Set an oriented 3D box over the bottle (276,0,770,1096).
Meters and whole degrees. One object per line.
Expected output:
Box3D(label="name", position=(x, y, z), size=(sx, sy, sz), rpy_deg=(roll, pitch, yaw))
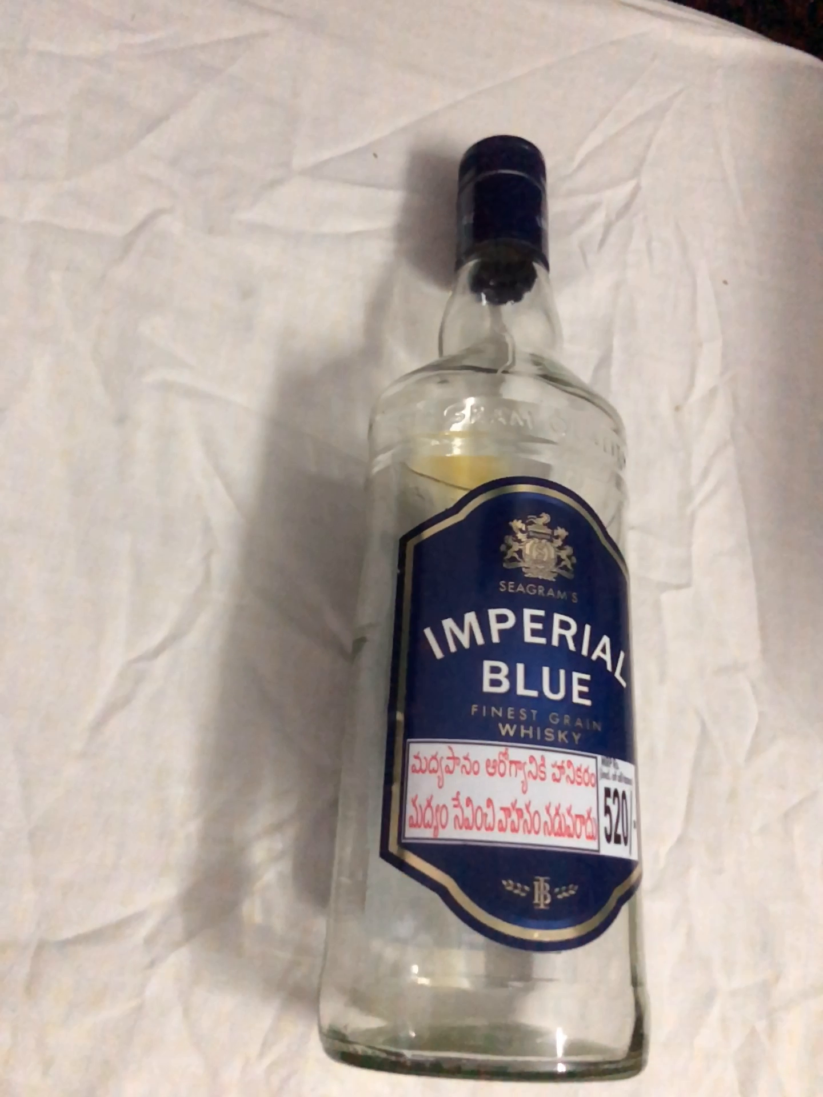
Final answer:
Box3D(label="bottle", position=(0.031, 0.001, 0.245), size=(0.090, 0.080, 0.270), rpy_deg=(9, 75, -13))
